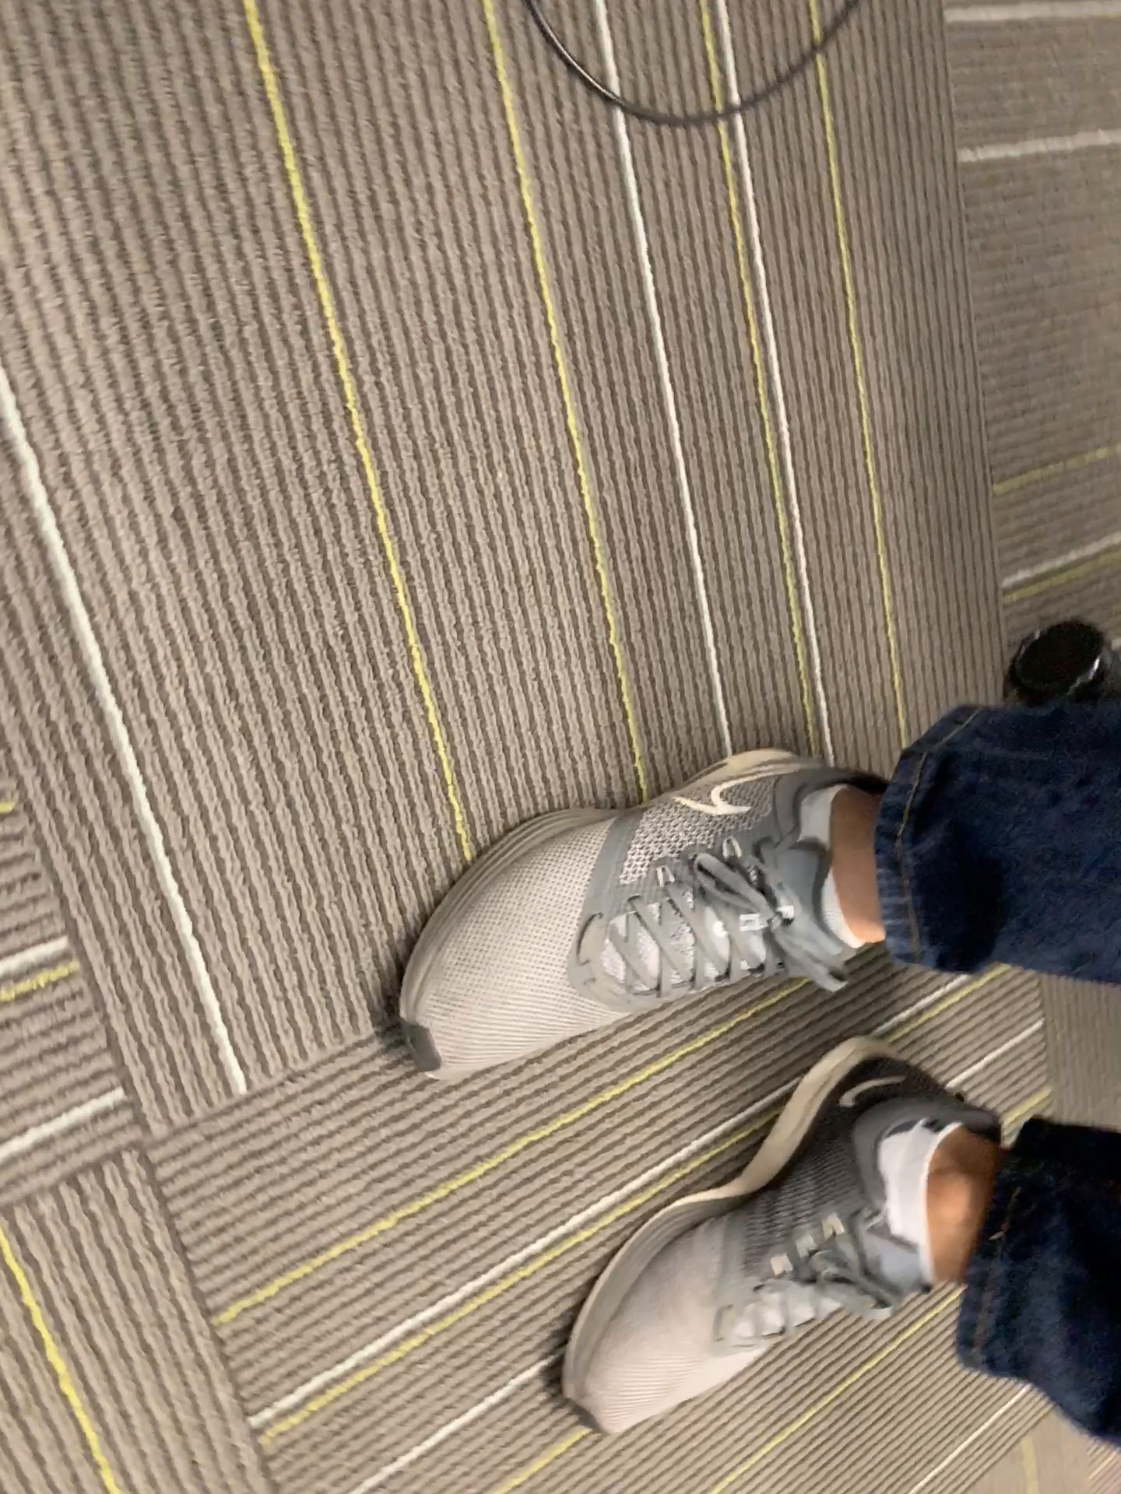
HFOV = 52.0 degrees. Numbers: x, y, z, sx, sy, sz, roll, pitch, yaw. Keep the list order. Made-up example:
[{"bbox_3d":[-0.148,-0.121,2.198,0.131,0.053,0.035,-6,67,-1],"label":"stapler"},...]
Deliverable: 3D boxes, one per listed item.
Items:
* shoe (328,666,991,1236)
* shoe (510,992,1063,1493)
[{"bbox_3d":[0.058,0.078,0.568,0.290,0.123,0.120,-28,113,-24],"label":"shoe"},{"bbox_3d":[0.137,0.299,0.669,0.290,0.123,0.120,-37,116,-20],"label":"shoe"}]
